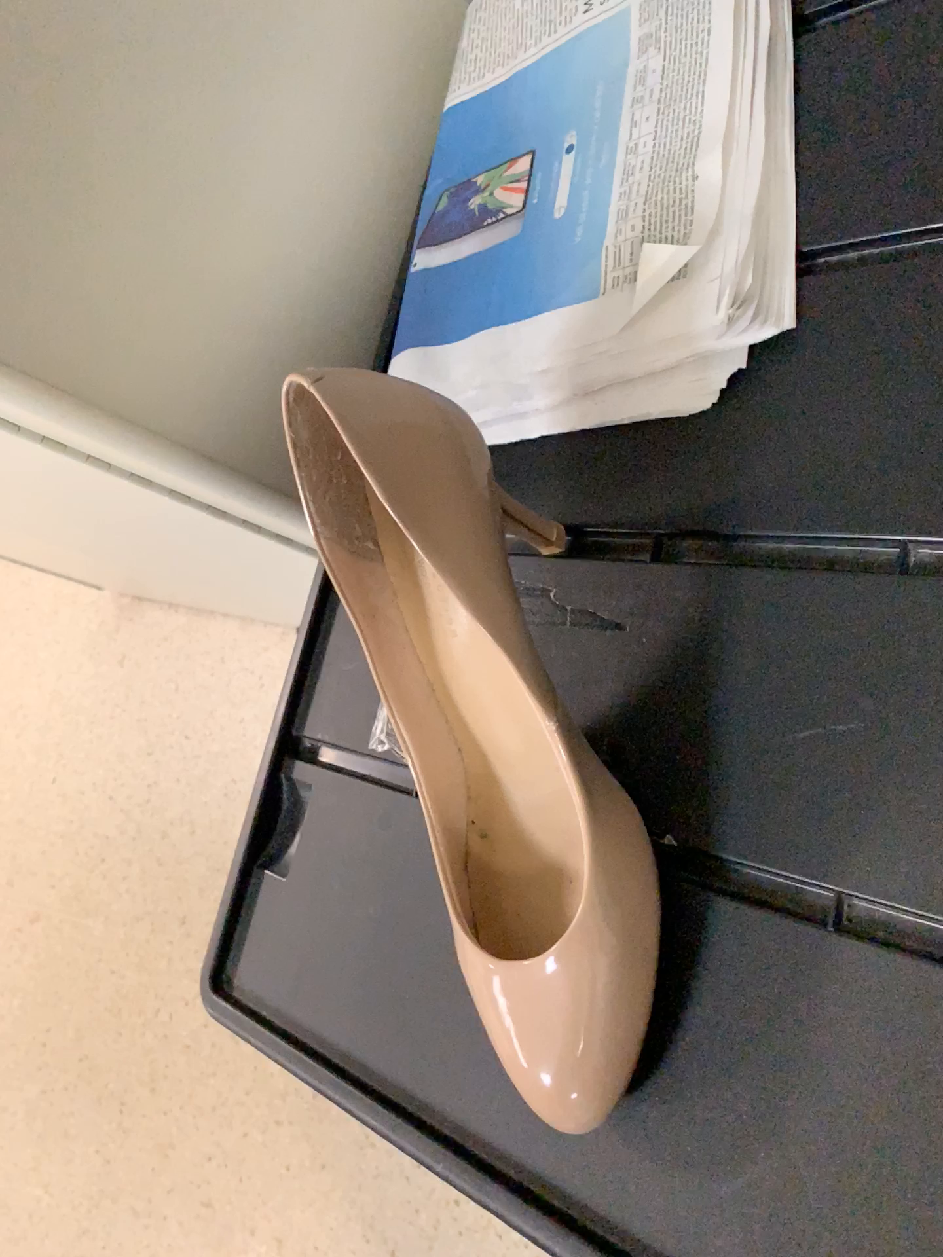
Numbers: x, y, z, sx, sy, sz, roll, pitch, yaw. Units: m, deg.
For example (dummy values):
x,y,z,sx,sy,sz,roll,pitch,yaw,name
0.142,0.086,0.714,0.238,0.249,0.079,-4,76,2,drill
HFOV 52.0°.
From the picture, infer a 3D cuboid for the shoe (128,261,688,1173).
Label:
x,y,z,sx,sy,sz,roll,pitch,yaw,name
-0.007,0.032,0.328,0.097,0.140,0.240,-13,65,39,shoe
